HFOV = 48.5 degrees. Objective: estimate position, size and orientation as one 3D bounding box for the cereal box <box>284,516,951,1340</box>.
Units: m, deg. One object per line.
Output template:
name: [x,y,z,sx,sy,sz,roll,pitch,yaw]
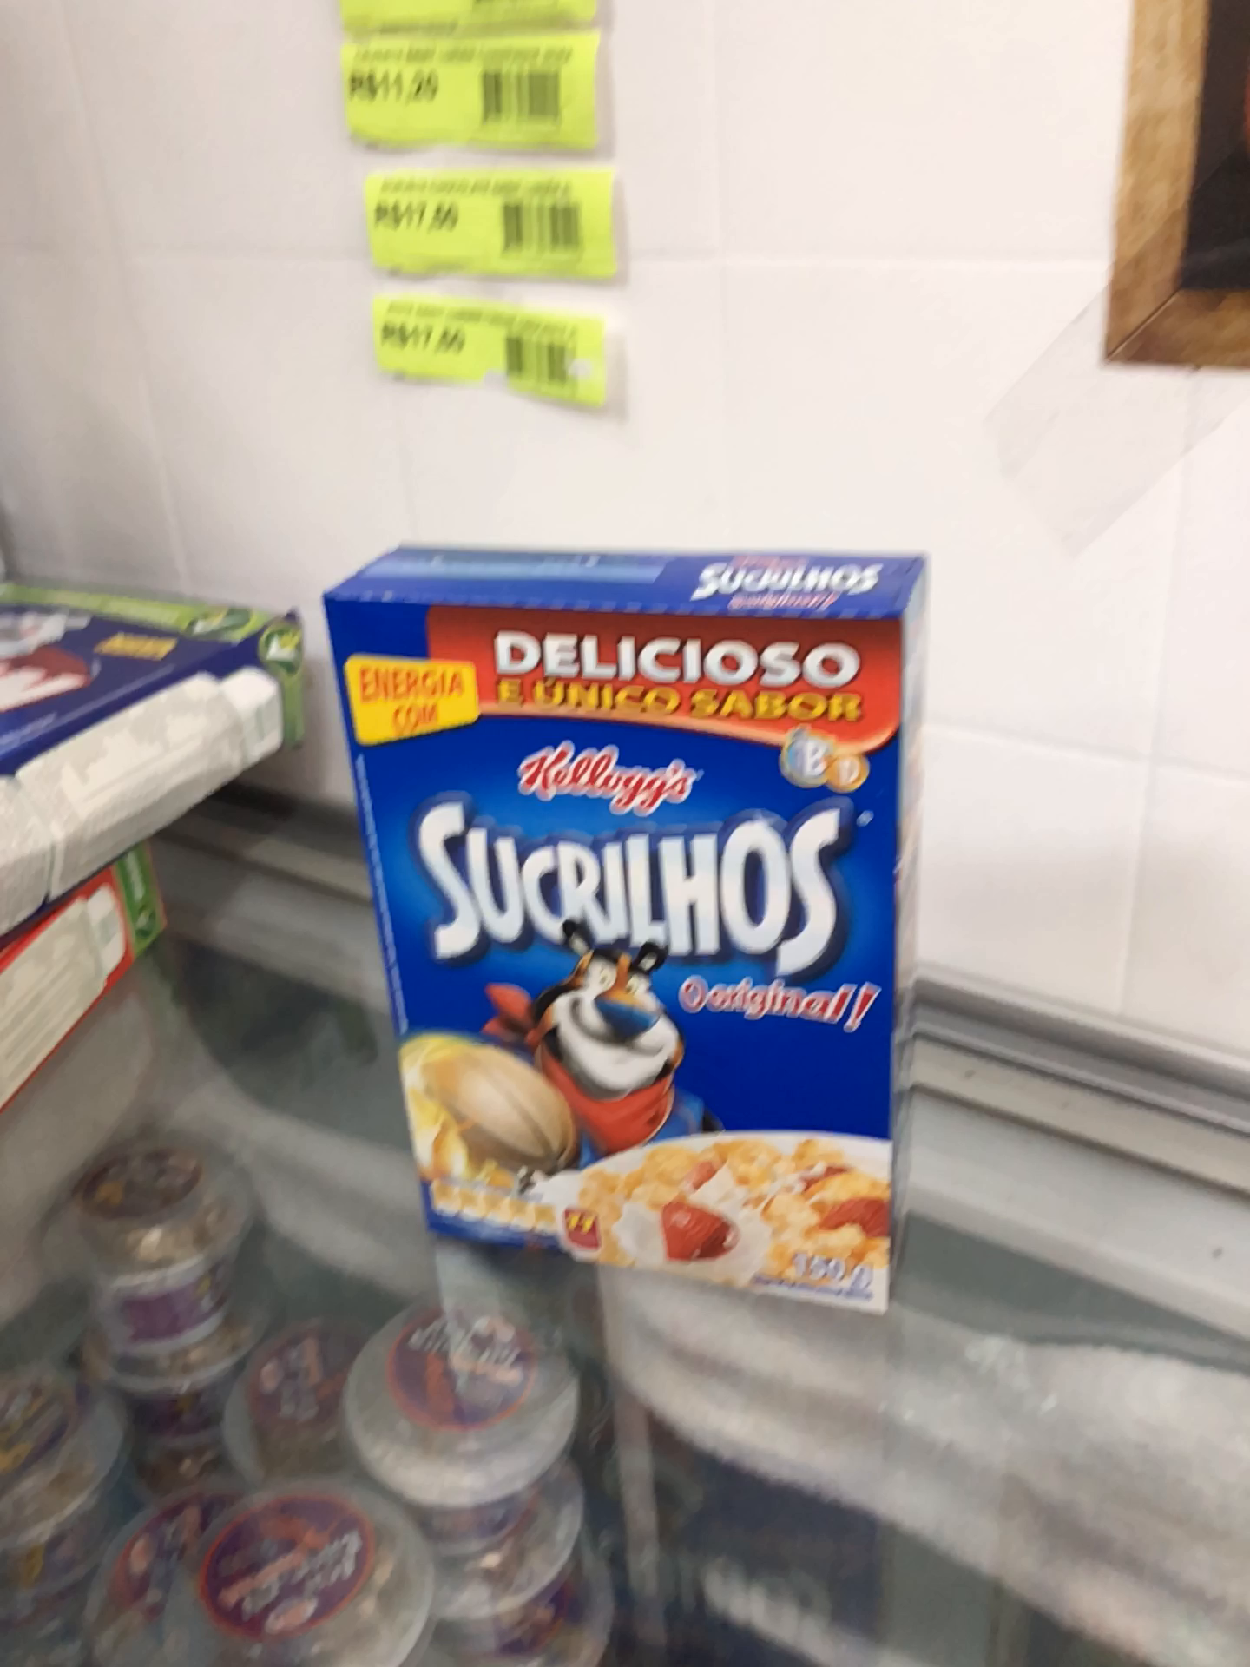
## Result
cereal box: [0.005,0.026,0.354,0.140,0.199,0.050,5,29,16]
